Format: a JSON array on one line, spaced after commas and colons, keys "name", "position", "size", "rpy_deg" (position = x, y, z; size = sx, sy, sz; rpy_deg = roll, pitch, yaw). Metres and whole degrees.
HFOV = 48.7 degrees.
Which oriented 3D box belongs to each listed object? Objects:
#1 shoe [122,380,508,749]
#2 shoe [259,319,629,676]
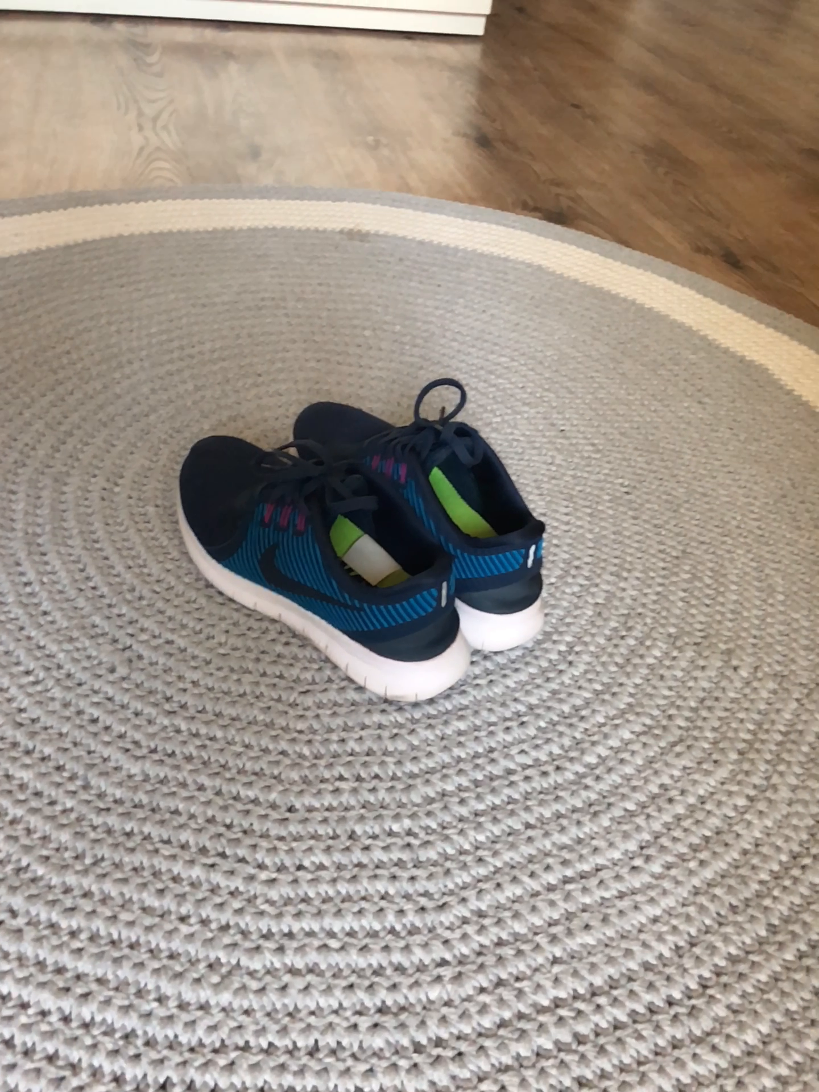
[{"name": "shoe", "position": [-0.068, -0.001, 0.570], "size": [0.100, 0.080, 0.244], "rpy_deg": [-28, 52, -35]}, {"name": "shoe", "position": [0.007, -0.048, 0.610], "size": [0.100, 0.080, 0.271], "rpy_deg": [-21, 48, -29]}]
